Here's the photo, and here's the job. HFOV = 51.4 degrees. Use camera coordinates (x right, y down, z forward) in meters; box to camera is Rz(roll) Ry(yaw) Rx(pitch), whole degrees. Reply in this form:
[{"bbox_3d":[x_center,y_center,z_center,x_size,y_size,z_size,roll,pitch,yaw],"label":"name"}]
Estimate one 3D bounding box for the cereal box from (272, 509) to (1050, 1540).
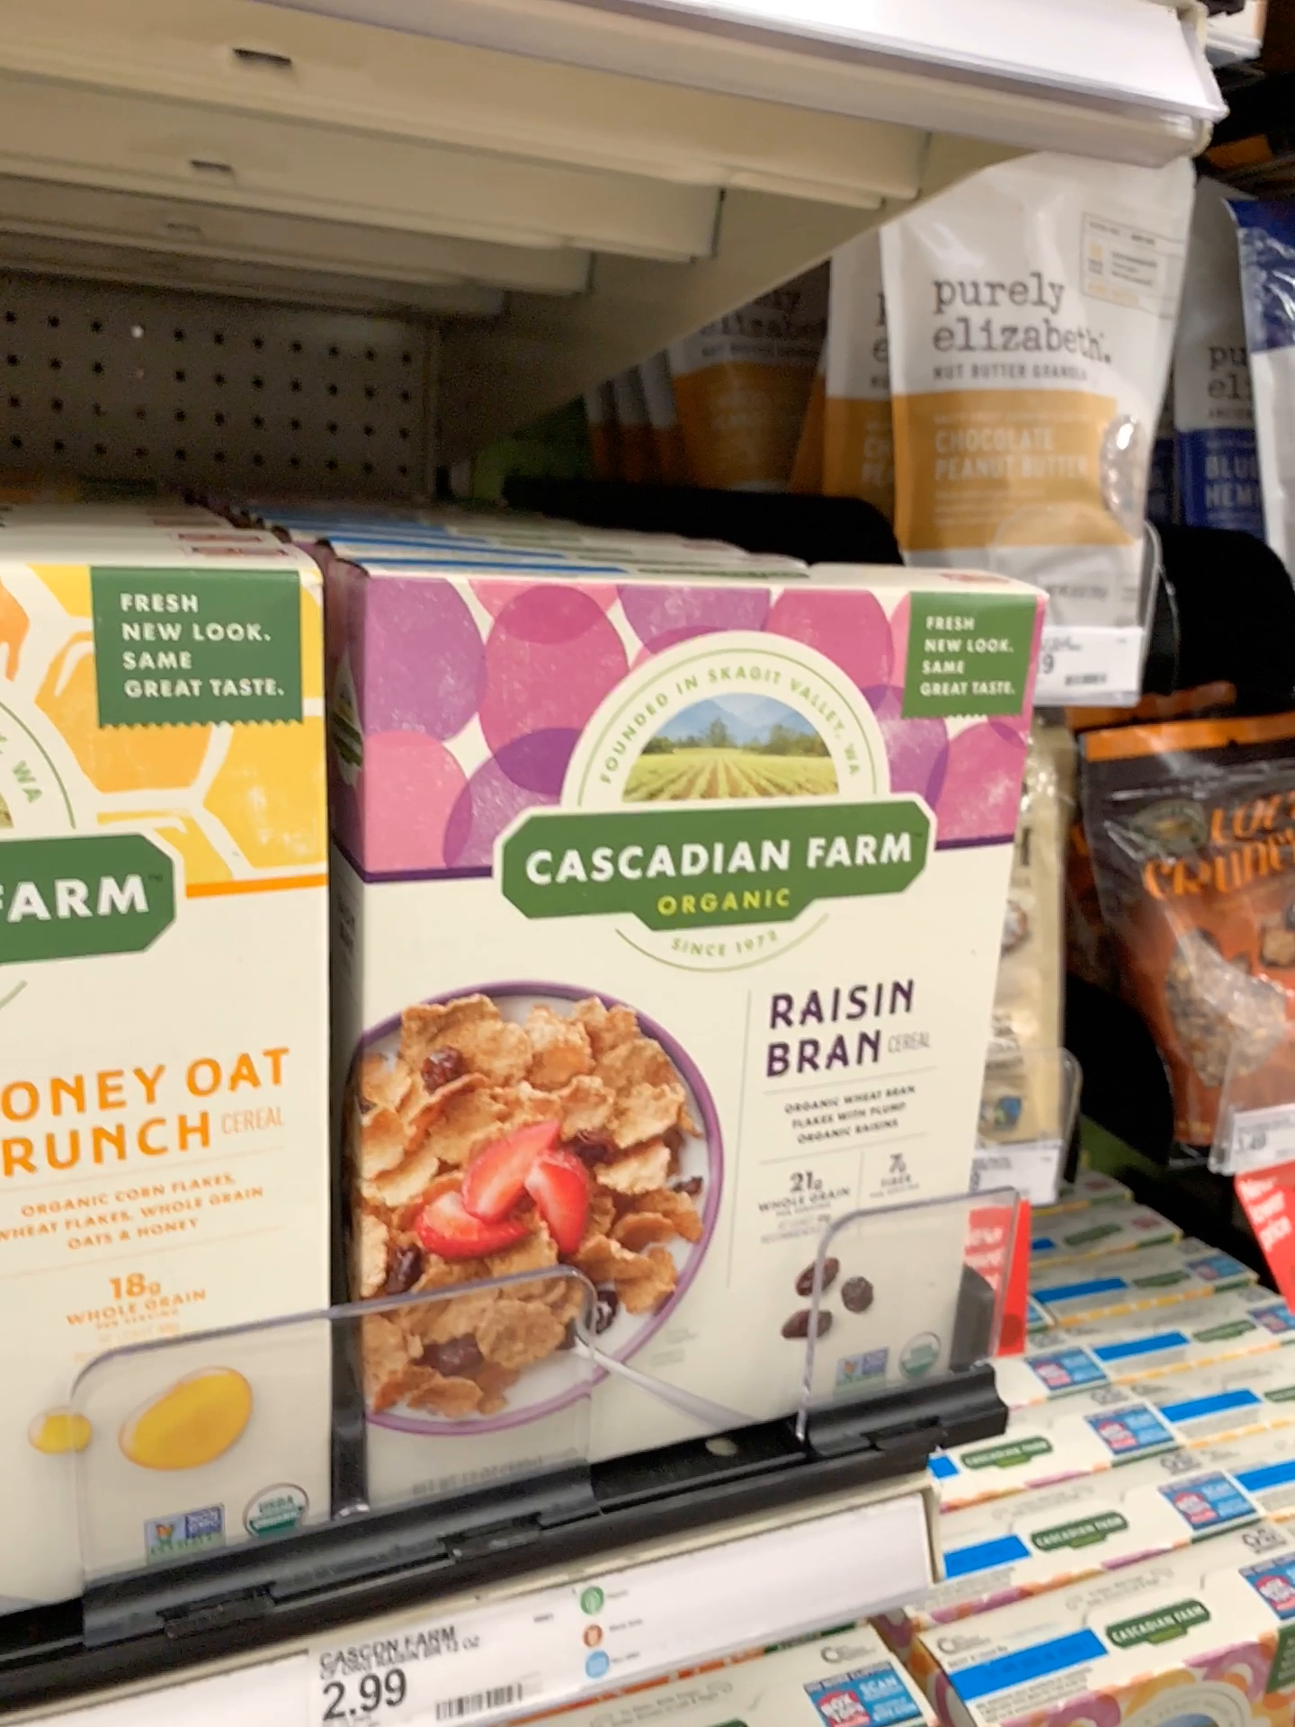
[{"bbox_3d":[-0.002,0.044,0.390,0.200,0.269,0.050,-3,18,-24],"label":"cereal box"}]
